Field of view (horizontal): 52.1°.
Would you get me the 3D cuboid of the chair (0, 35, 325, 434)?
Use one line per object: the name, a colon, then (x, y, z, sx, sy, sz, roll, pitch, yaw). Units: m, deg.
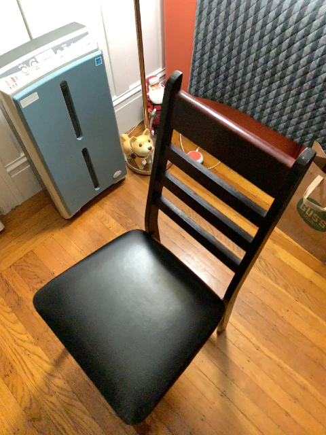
chair: (-0.061, 0.179, 0.828, 0.491, 0.867, 0.550, 38, 65, 24)
